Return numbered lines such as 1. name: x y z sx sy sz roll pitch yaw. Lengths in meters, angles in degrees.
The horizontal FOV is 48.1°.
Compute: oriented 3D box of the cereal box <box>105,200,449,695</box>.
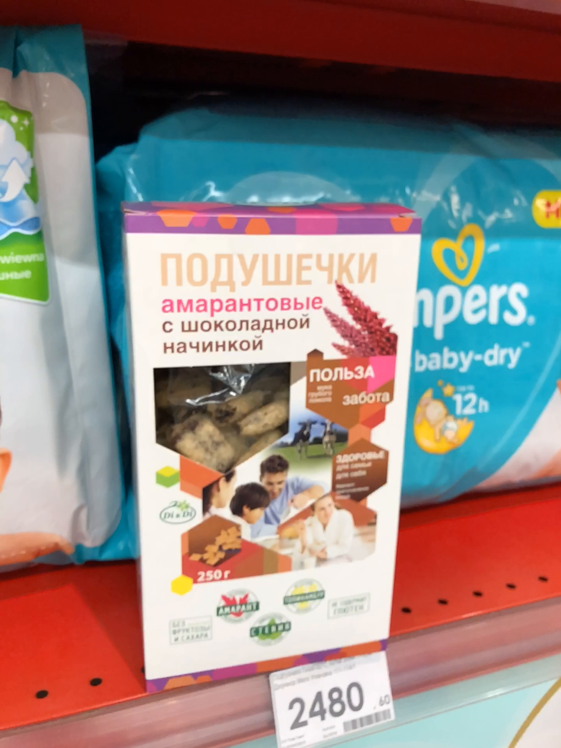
1. cereal box: -0.008 0.030 0.311 0.140 0.219 0.070 -3 16 -14
